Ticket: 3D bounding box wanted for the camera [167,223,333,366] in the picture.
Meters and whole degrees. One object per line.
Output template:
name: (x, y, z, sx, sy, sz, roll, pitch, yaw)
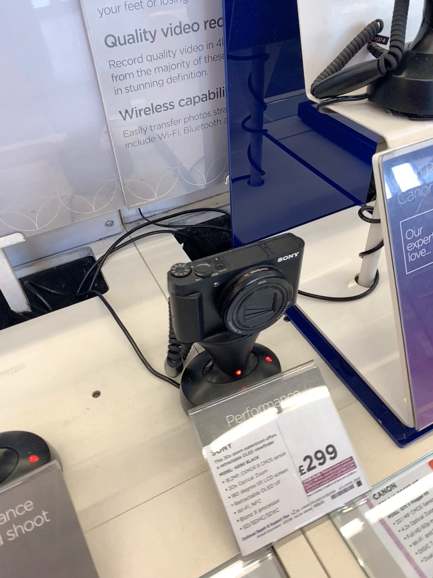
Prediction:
camera: (0.022, 0.002, 0.307, 0.100, 0.059, 0.040, -18, 45, -18)
